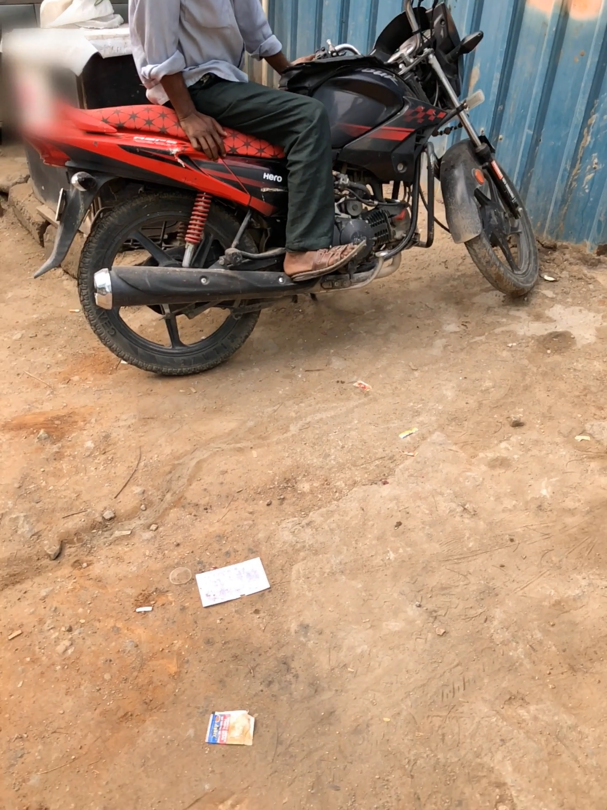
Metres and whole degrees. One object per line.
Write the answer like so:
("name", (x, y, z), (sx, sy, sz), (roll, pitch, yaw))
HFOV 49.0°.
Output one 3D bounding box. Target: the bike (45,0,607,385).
("bike", (0.051, -1.016, 2.317), (1.633, 1.129, 0.738), (-18, 39, -18))
